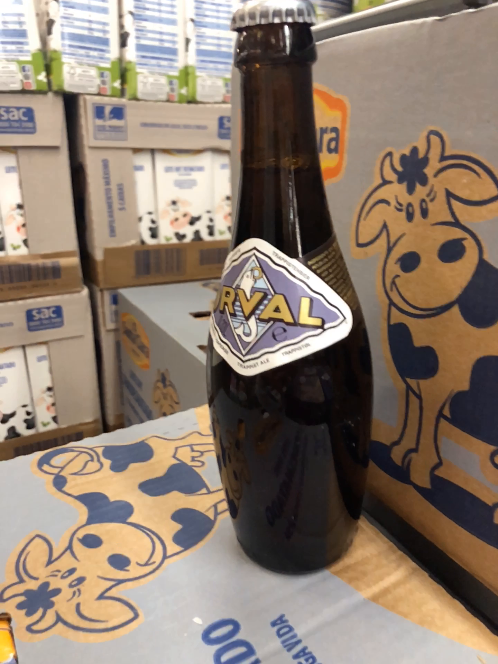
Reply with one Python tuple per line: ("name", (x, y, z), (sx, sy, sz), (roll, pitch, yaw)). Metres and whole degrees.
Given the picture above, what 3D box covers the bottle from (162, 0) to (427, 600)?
("bottle", (0.018, -0.012, 0.220), (0.070, 0.209, 0.060), (10, 21, 30))
